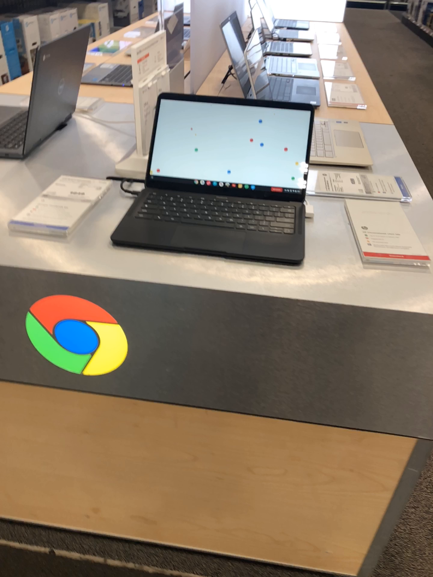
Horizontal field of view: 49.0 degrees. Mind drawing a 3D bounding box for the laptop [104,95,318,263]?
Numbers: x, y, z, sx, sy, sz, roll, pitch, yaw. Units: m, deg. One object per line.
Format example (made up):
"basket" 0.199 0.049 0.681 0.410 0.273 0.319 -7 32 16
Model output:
"laptop" 0.013 -0.207 0.816 0.293 0.134 0.337 7 37 5
